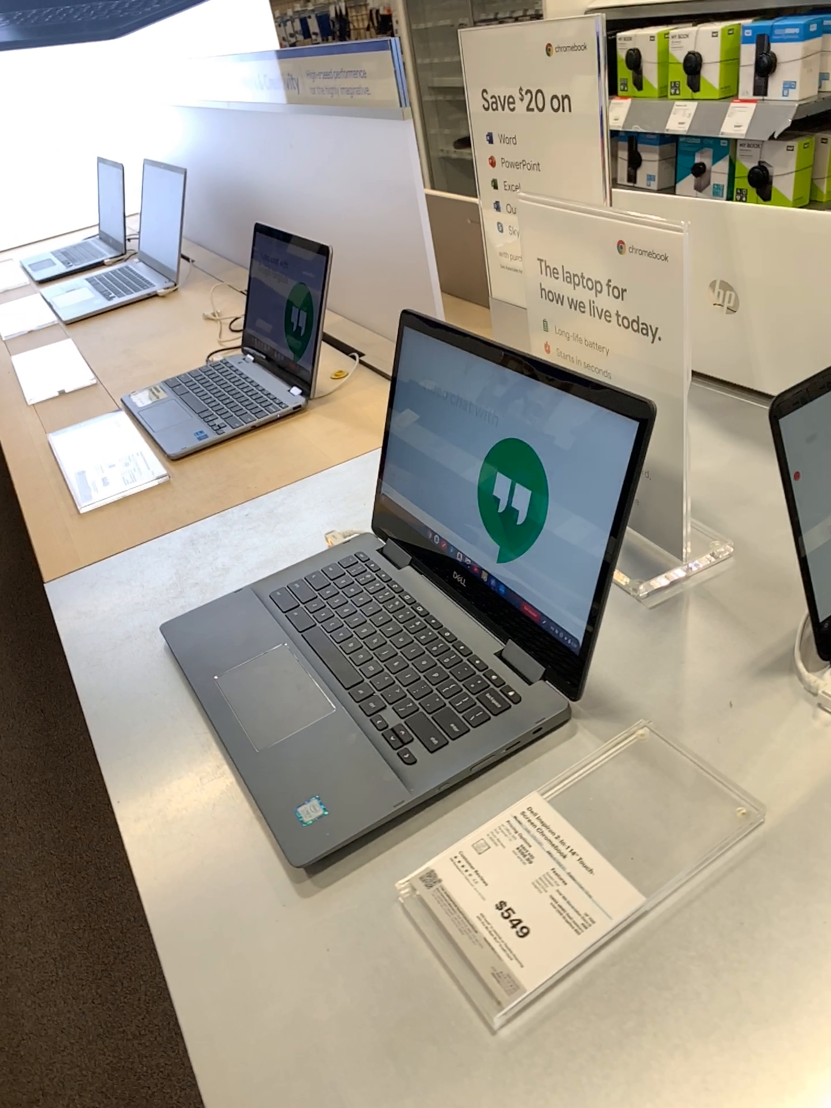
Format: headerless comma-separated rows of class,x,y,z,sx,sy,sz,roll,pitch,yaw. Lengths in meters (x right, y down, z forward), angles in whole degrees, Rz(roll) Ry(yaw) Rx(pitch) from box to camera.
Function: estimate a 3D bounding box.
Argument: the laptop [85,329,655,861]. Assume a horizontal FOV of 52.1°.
laptop,-0.042,-0.004,0.650,0.292,0.202,0.311,-24,34,-19
